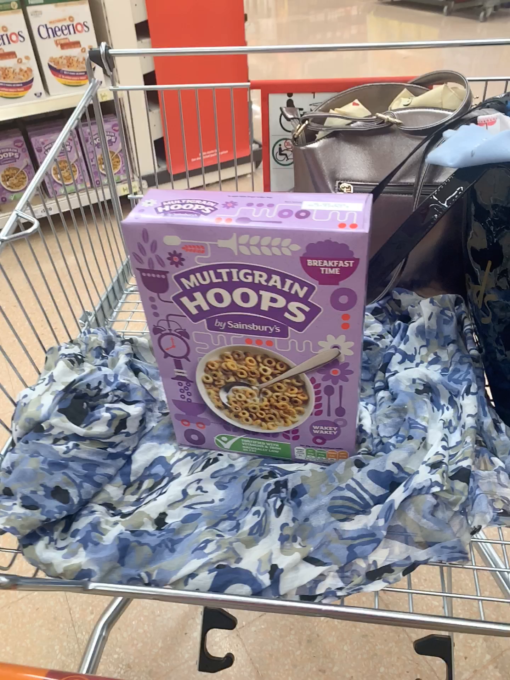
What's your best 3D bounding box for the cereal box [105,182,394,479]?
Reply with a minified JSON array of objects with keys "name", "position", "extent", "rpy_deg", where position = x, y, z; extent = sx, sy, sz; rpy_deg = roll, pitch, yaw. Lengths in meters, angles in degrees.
[{"name":"cereal box","position":[0.006,0.001,0.480],"extent":[0.210,0.267,0.071],"rpy_deg":[5,39,12]}]
